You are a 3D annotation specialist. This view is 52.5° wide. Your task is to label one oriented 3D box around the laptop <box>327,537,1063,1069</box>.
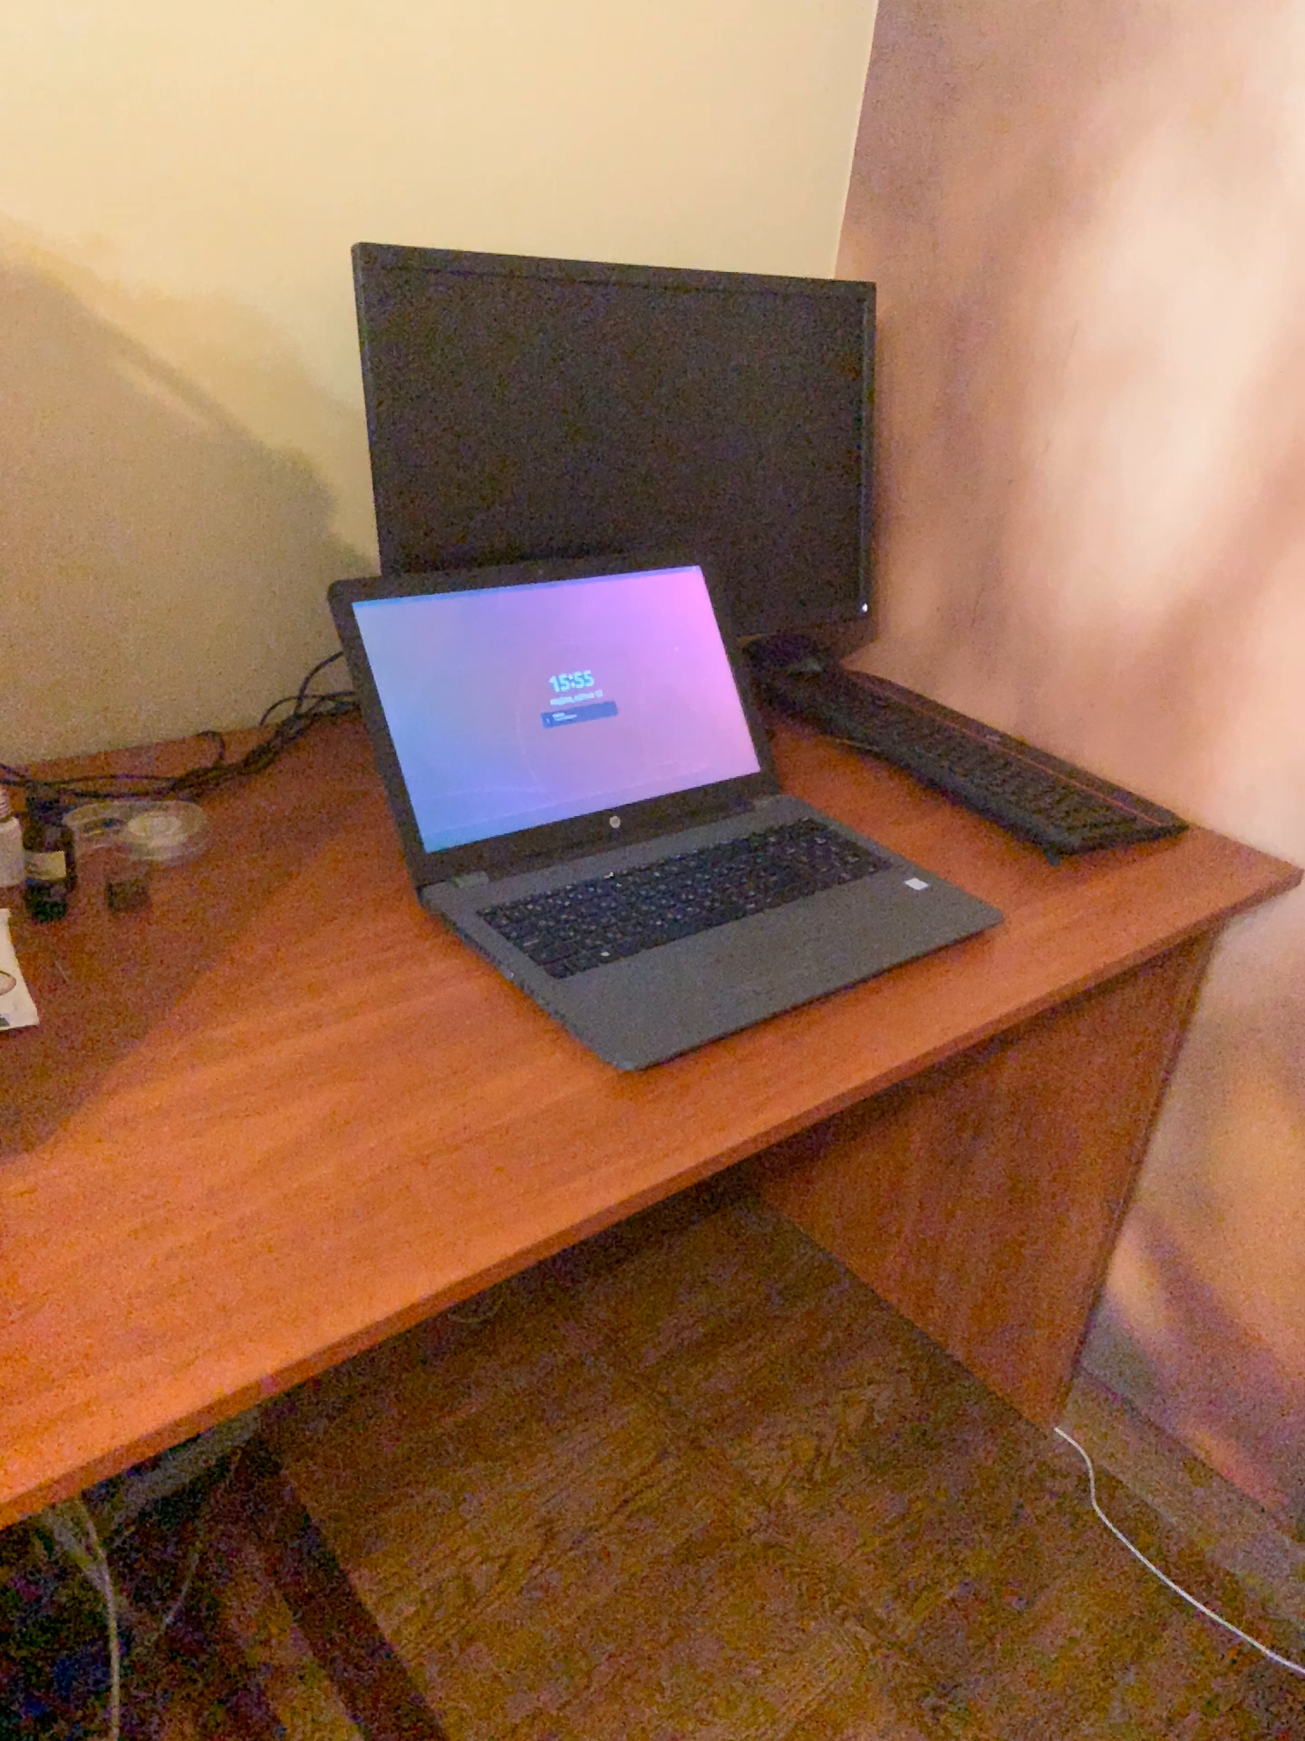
[{"bbox_3d":[0.018,-0.088,0.970,0.367,0.181,0.375,-16,36,-37],"label":"laptop"}]
